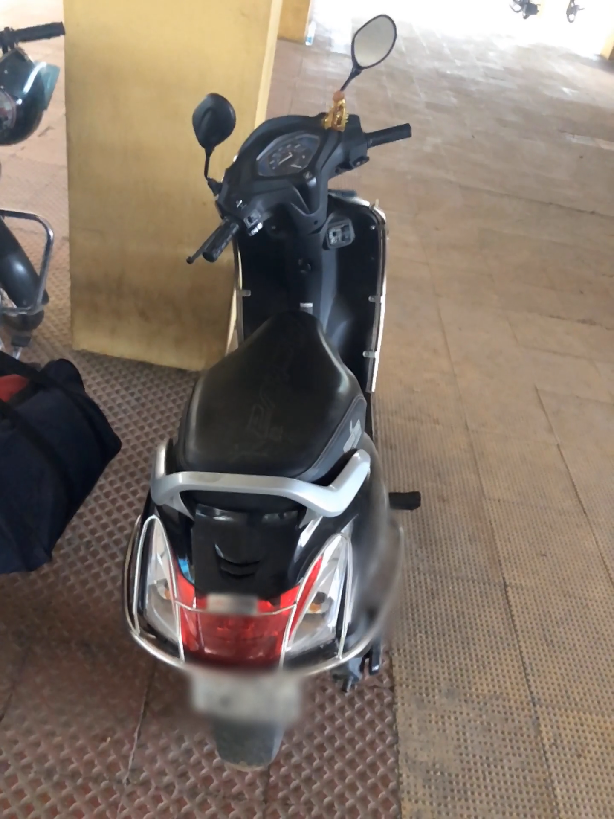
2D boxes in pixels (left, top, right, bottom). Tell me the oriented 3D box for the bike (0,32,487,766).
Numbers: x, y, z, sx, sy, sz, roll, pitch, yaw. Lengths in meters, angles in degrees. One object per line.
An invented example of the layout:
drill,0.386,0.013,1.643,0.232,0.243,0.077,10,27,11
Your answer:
bike,-0.201,-0.225,1.697,0.621,0.883,1.668,8,38,-8
